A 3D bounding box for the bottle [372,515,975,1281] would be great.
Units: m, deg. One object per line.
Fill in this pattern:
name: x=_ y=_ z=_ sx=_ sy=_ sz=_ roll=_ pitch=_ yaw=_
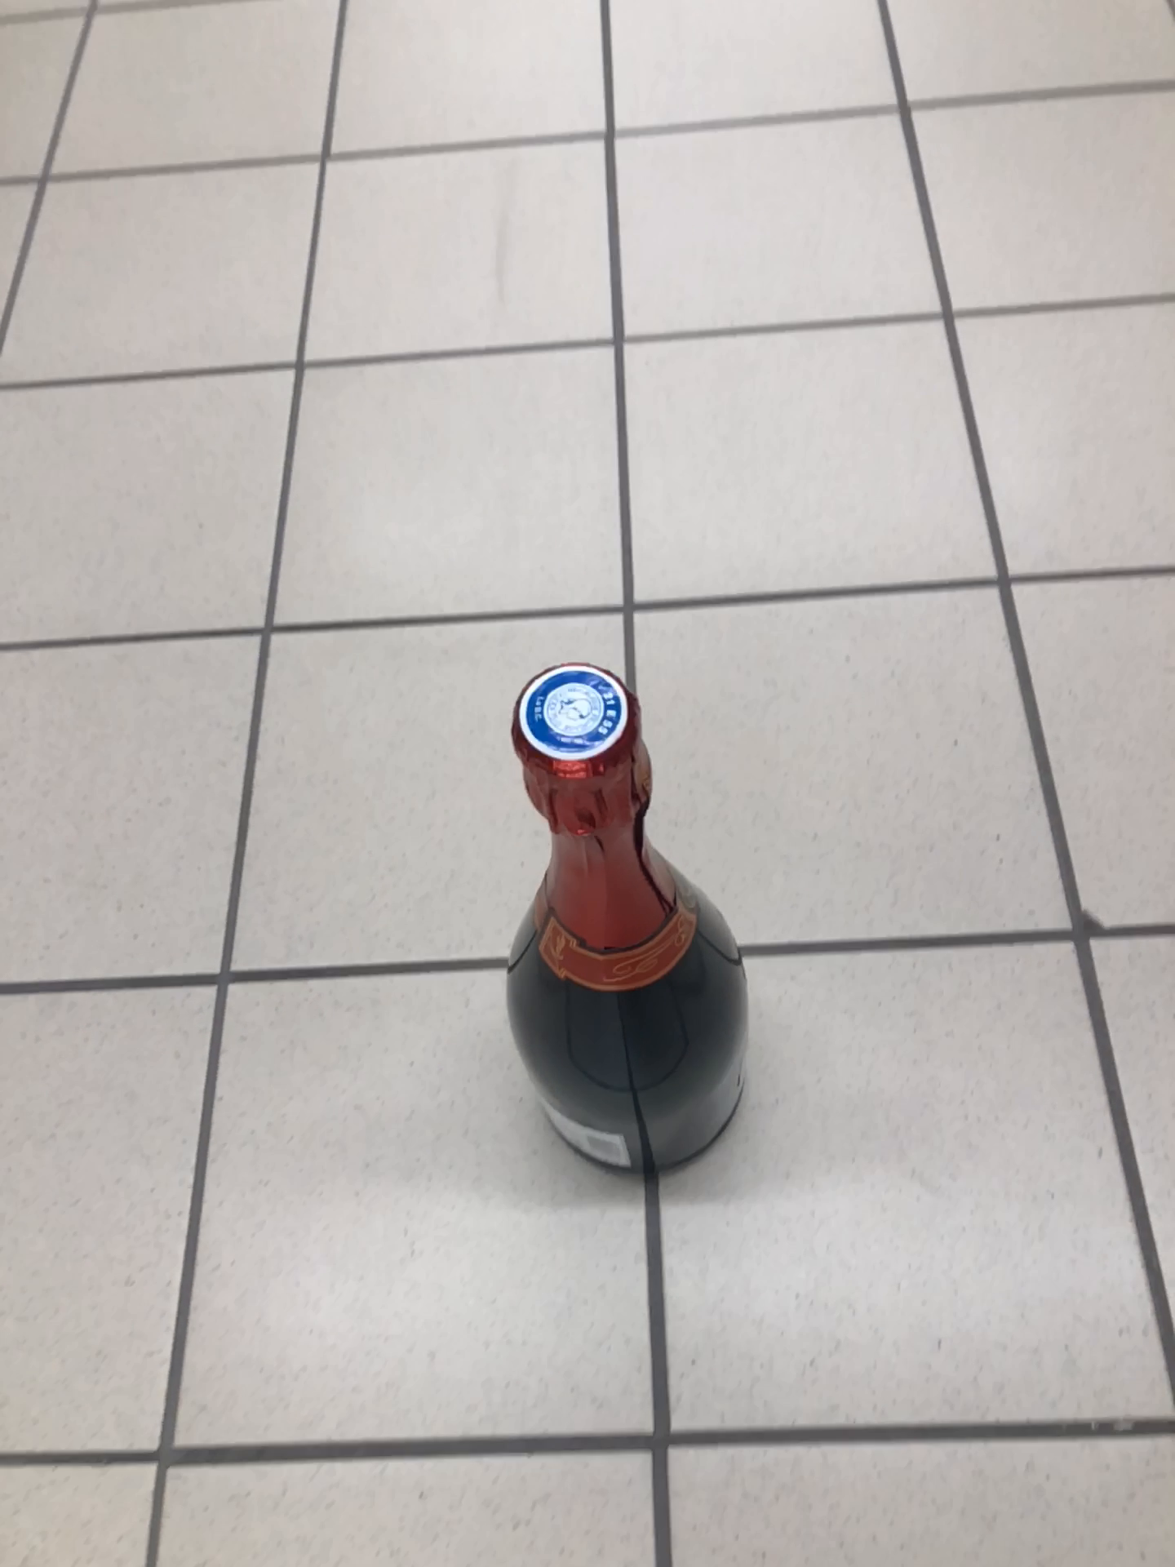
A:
bottle: x=0.029 y=0.066 z=0.425 sx=0.100 sy=0.299 sz=0.100 roll=-2 pitch=60 yaw=4
